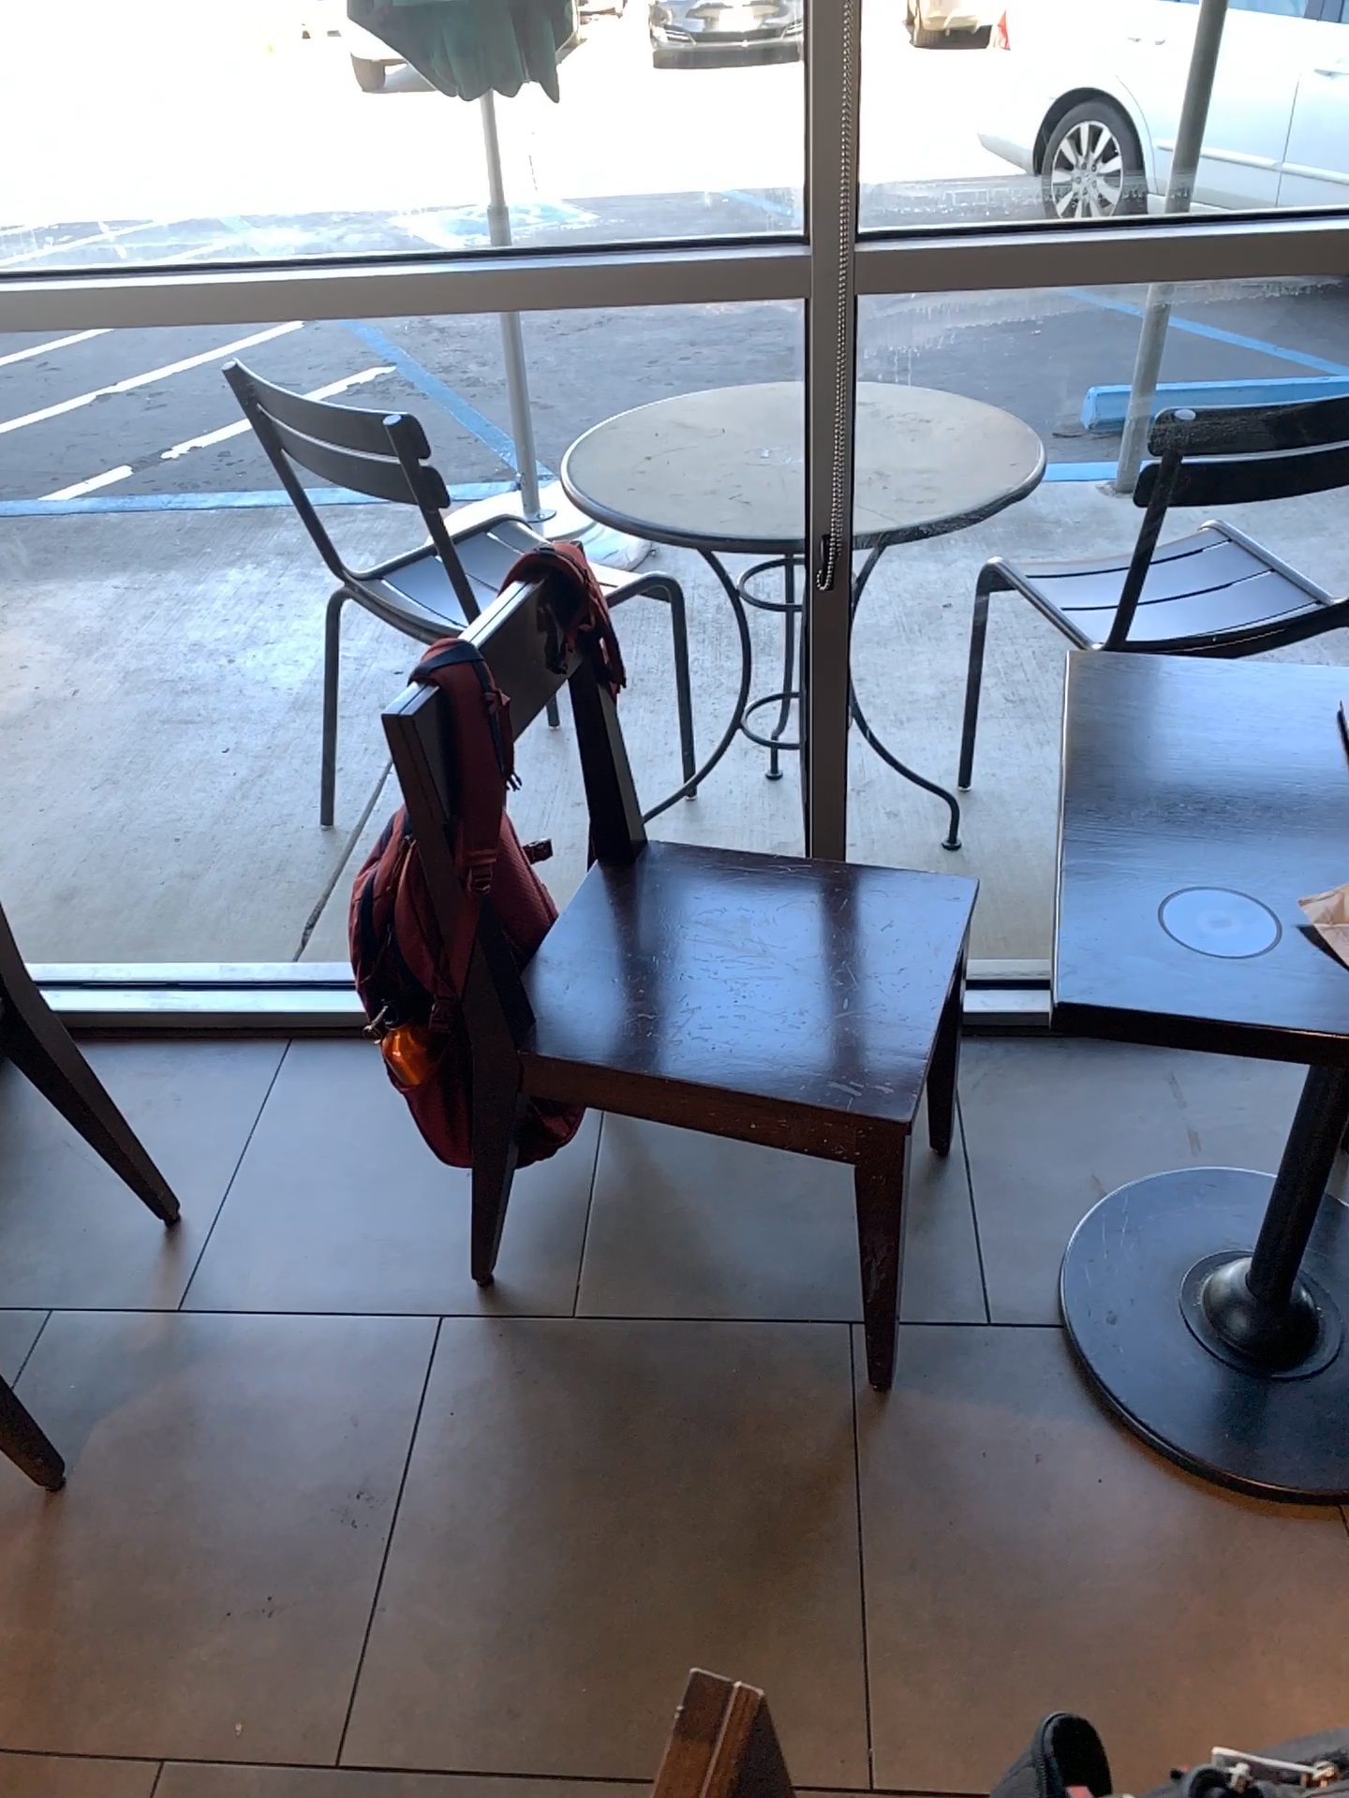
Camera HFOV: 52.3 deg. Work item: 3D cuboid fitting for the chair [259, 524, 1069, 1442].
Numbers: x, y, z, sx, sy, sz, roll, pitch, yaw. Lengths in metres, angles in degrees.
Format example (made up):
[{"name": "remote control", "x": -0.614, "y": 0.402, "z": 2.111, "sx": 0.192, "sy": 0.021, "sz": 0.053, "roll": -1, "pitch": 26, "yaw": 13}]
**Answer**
[{"name": "chair", "x": 0.059, "y": 0.075, "z": 1.806, "sx": 0.741, "sy": 0.855, "sz": 0.693, "roll": 8, "pitch": 39, "yaw": 16}]
